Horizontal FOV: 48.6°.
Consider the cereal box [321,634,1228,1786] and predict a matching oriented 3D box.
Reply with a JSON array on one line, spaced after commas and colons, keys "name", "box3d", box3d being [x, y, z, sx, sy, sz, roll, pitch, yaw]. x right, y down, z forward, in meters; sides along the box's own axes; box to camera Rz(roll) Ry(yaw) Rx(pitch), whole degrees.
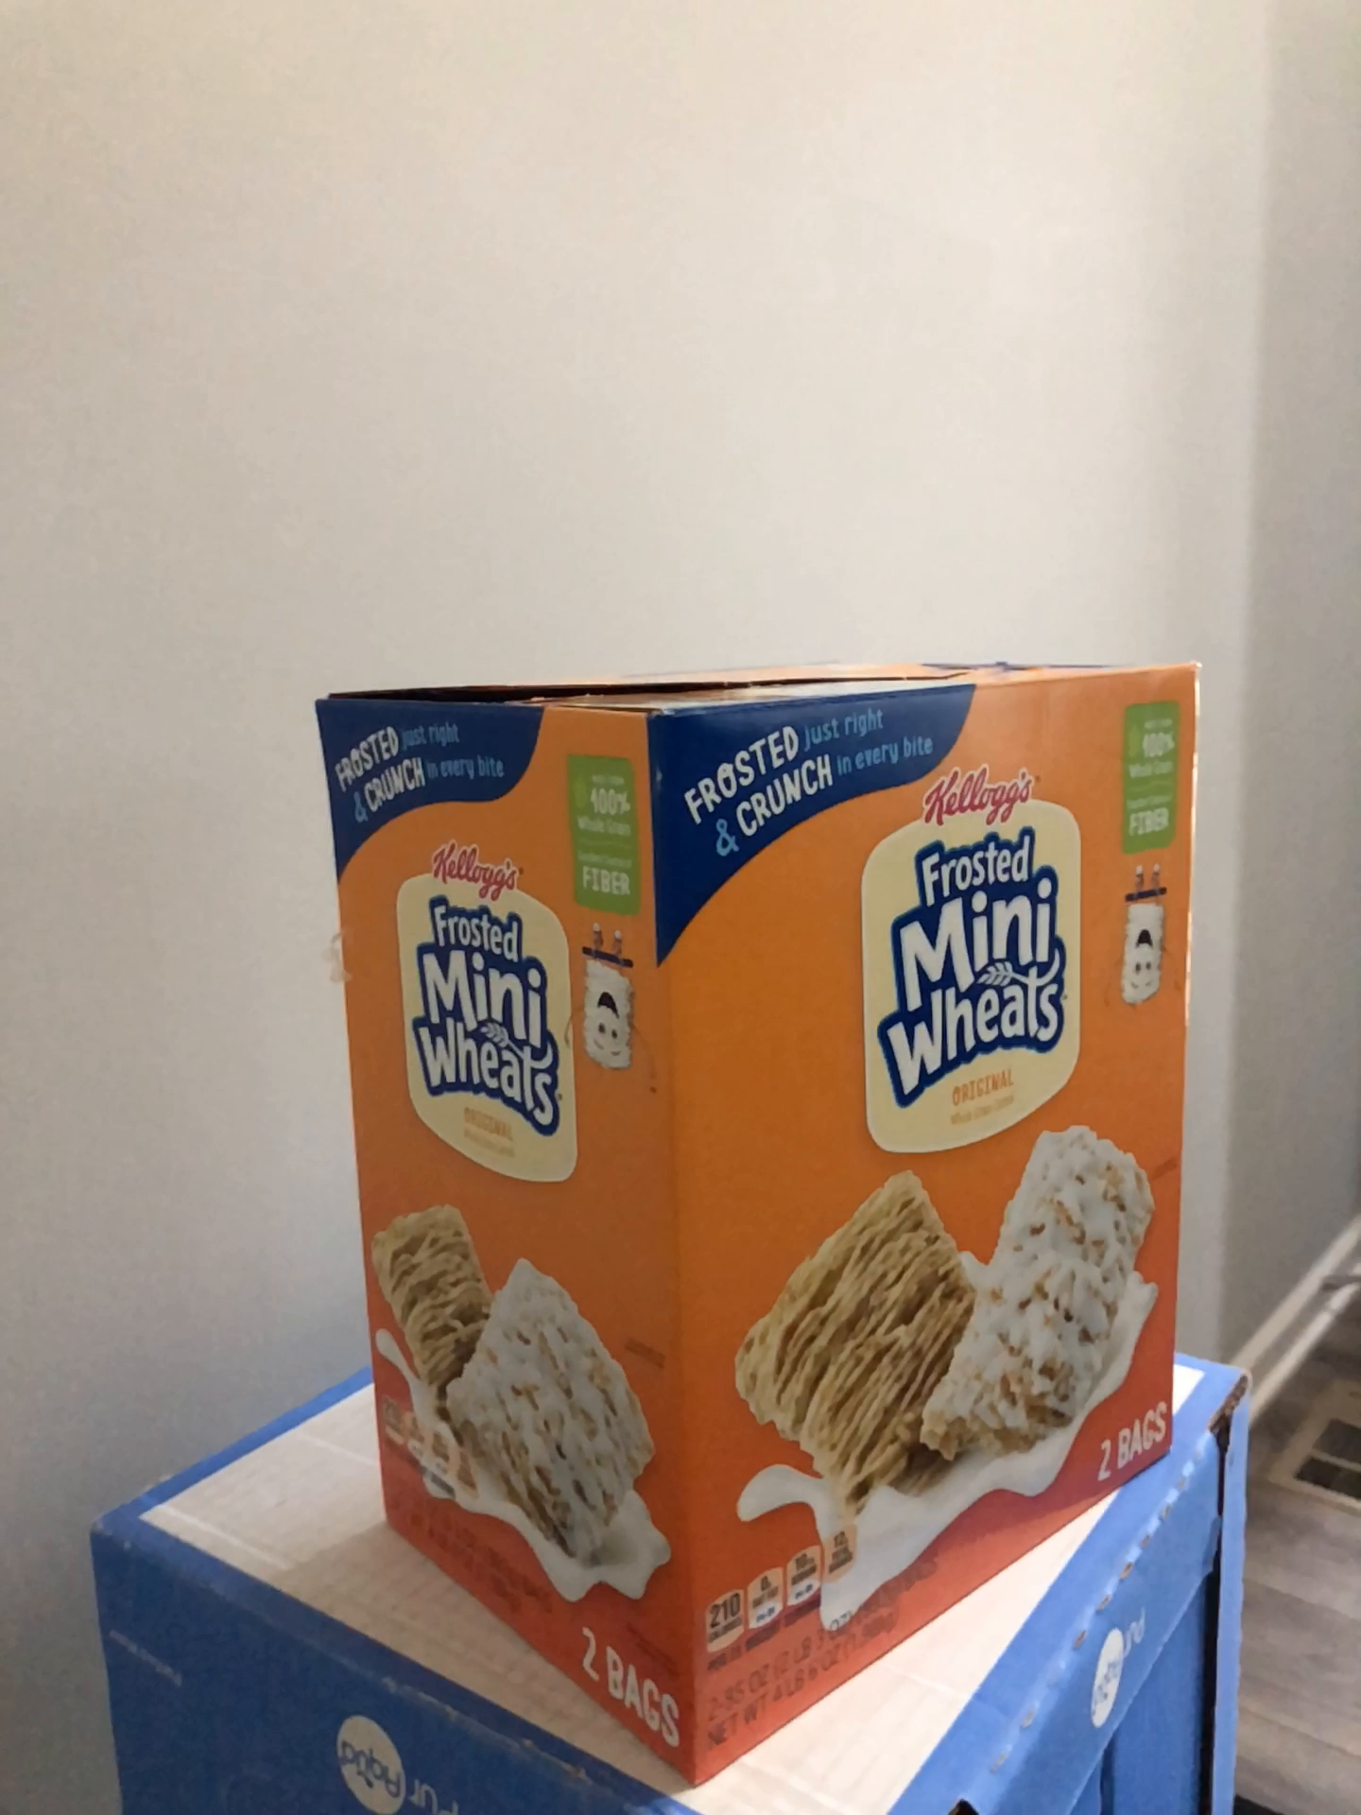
[{"name": "cereal box", "box3d": [0.041, 0.059, 0.509, 0.250, 0.289, 0.160, -11, 14, -40]}]
